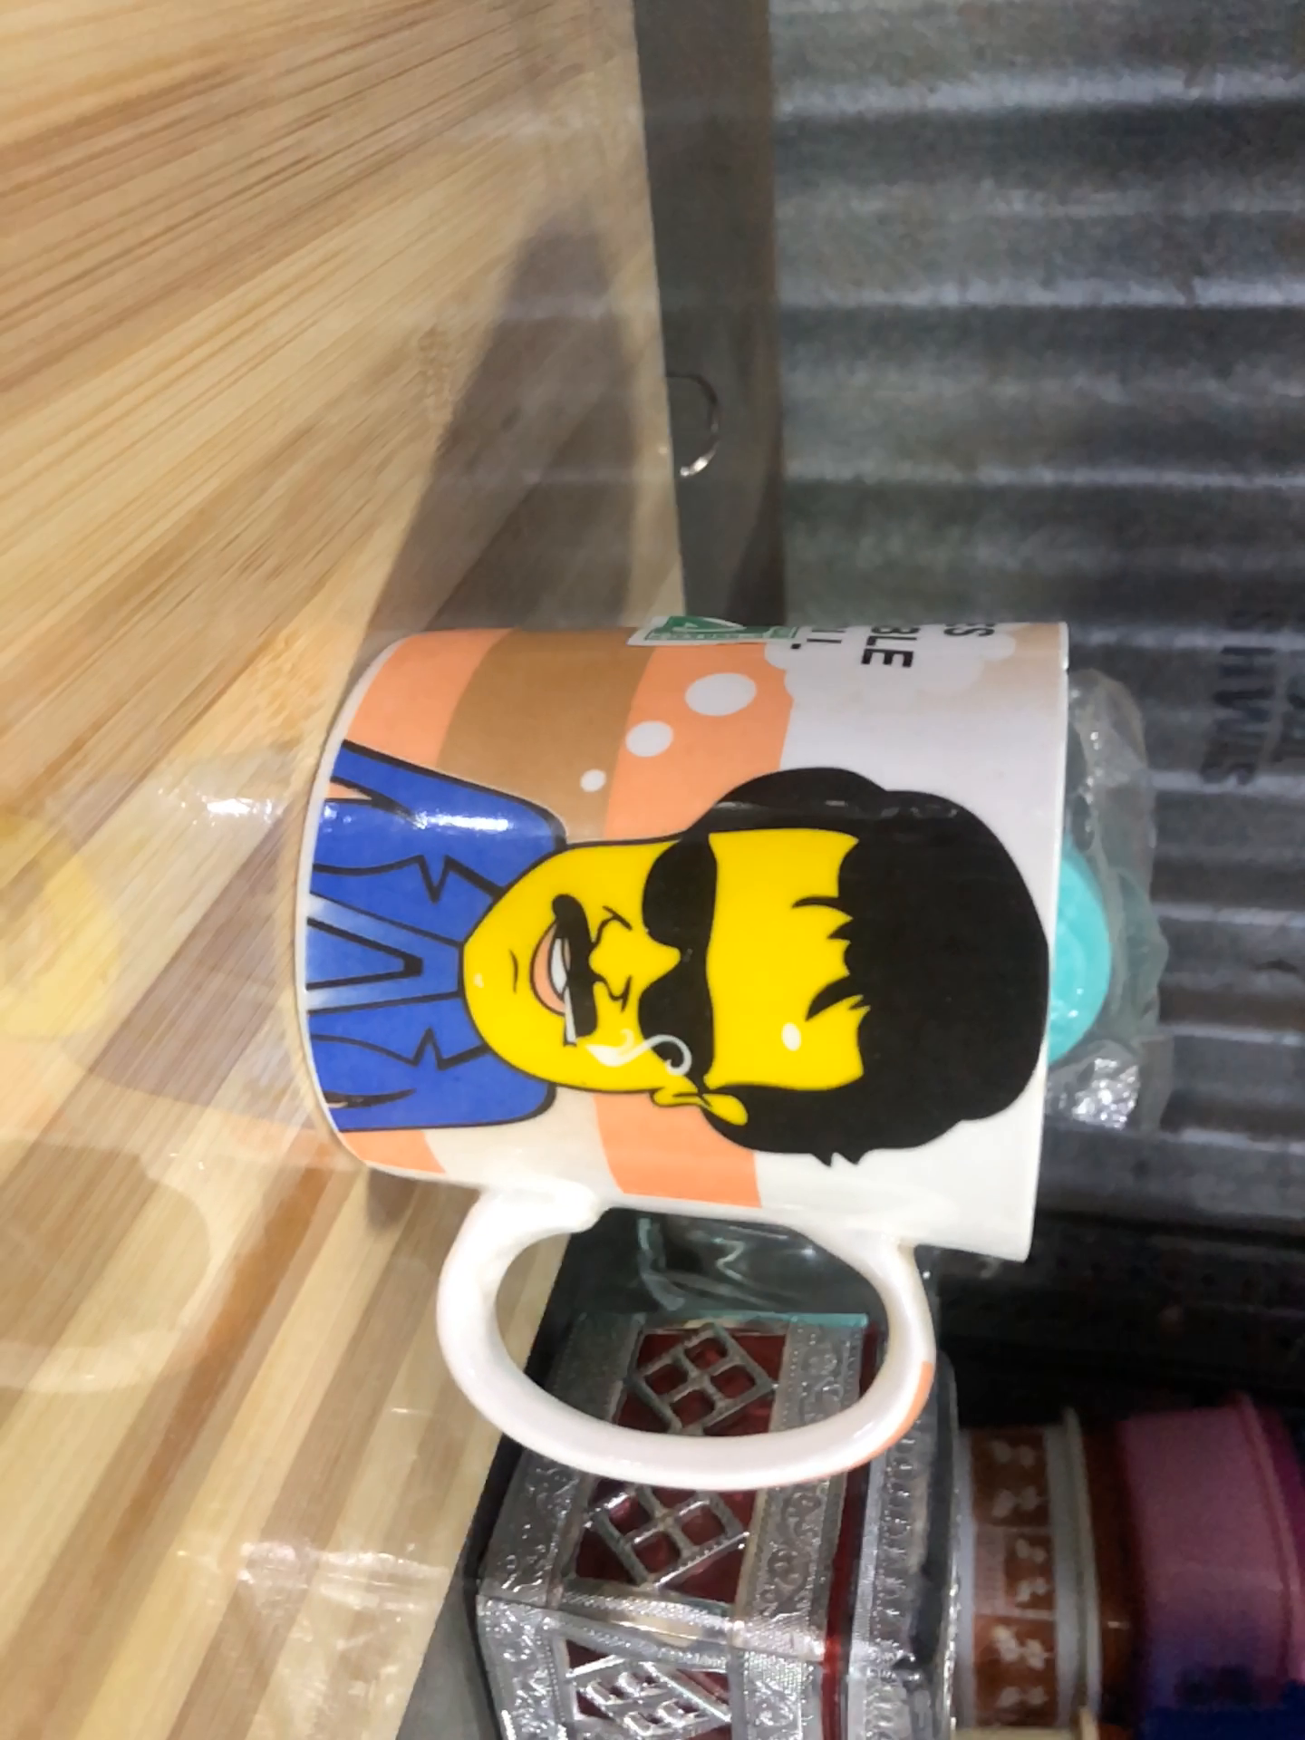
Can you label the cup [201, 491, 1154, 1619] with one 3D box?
[{"bbox_3d":[0.010,0.019,0.185,0.070,0.090,0.110,51,43,-73],"label":"cup"}]
